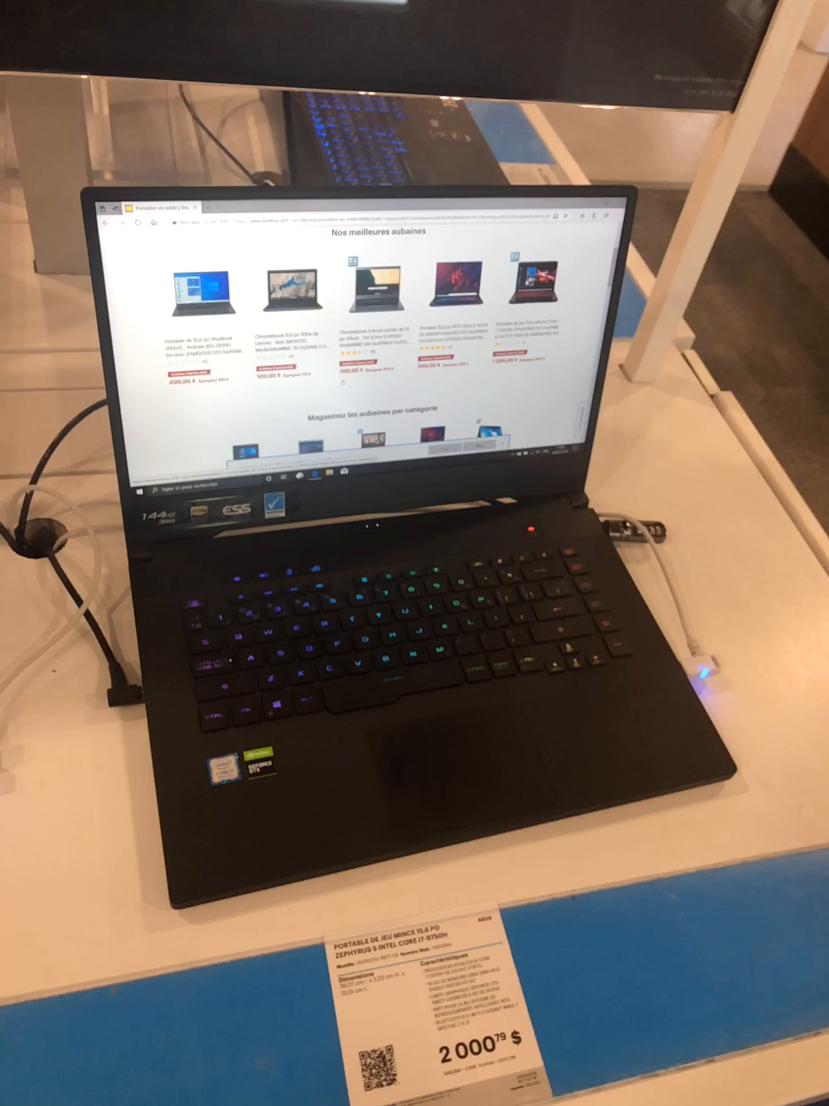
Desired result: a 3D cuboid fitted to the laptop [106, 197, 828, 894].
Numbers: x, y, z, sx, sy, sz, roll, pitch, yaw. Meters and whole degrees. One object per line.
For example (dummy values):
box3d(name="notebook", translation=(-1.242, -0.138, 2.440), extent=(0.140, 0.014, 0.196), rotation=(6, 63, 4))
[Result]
box3d(name="laptop", translation=(0.014, -0.030, 0.539), extent=(0.340, 0.207, 0.315), rotation=(-7, 50, -16))
